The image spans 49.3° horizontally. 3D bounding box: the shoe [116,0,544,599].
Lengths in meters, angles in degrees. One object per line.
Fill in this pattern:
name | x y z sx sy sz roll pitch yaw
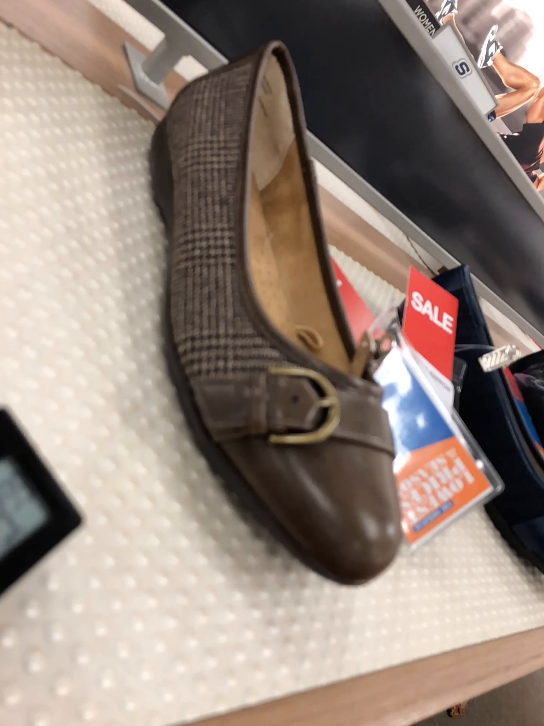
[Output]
shoe | 0.008 -0.051 0.264 0.093 0.079 0.278 23 40 -45
